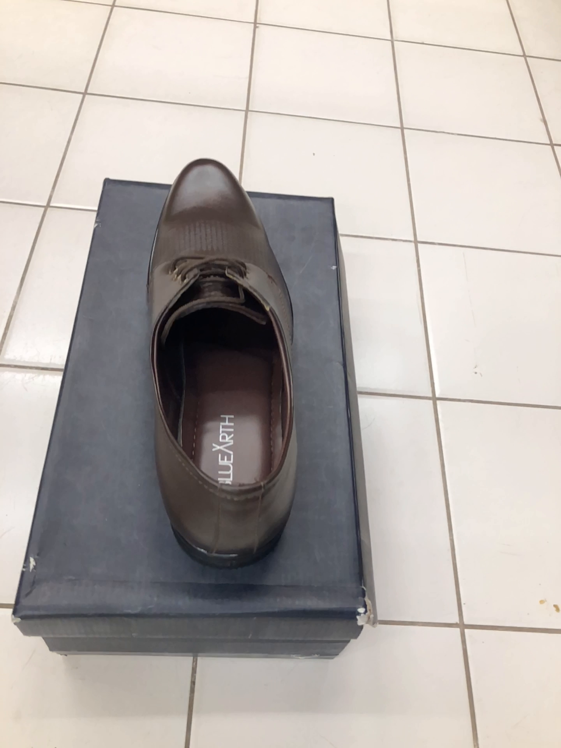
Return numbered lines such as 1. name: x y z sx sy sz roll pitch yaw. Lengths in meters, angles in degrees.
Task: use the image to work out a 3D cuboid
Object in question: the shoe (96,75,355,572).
1. shoe: -0.036 -0.045 0.384 0.110 0.099 0.302 0 58 -7
